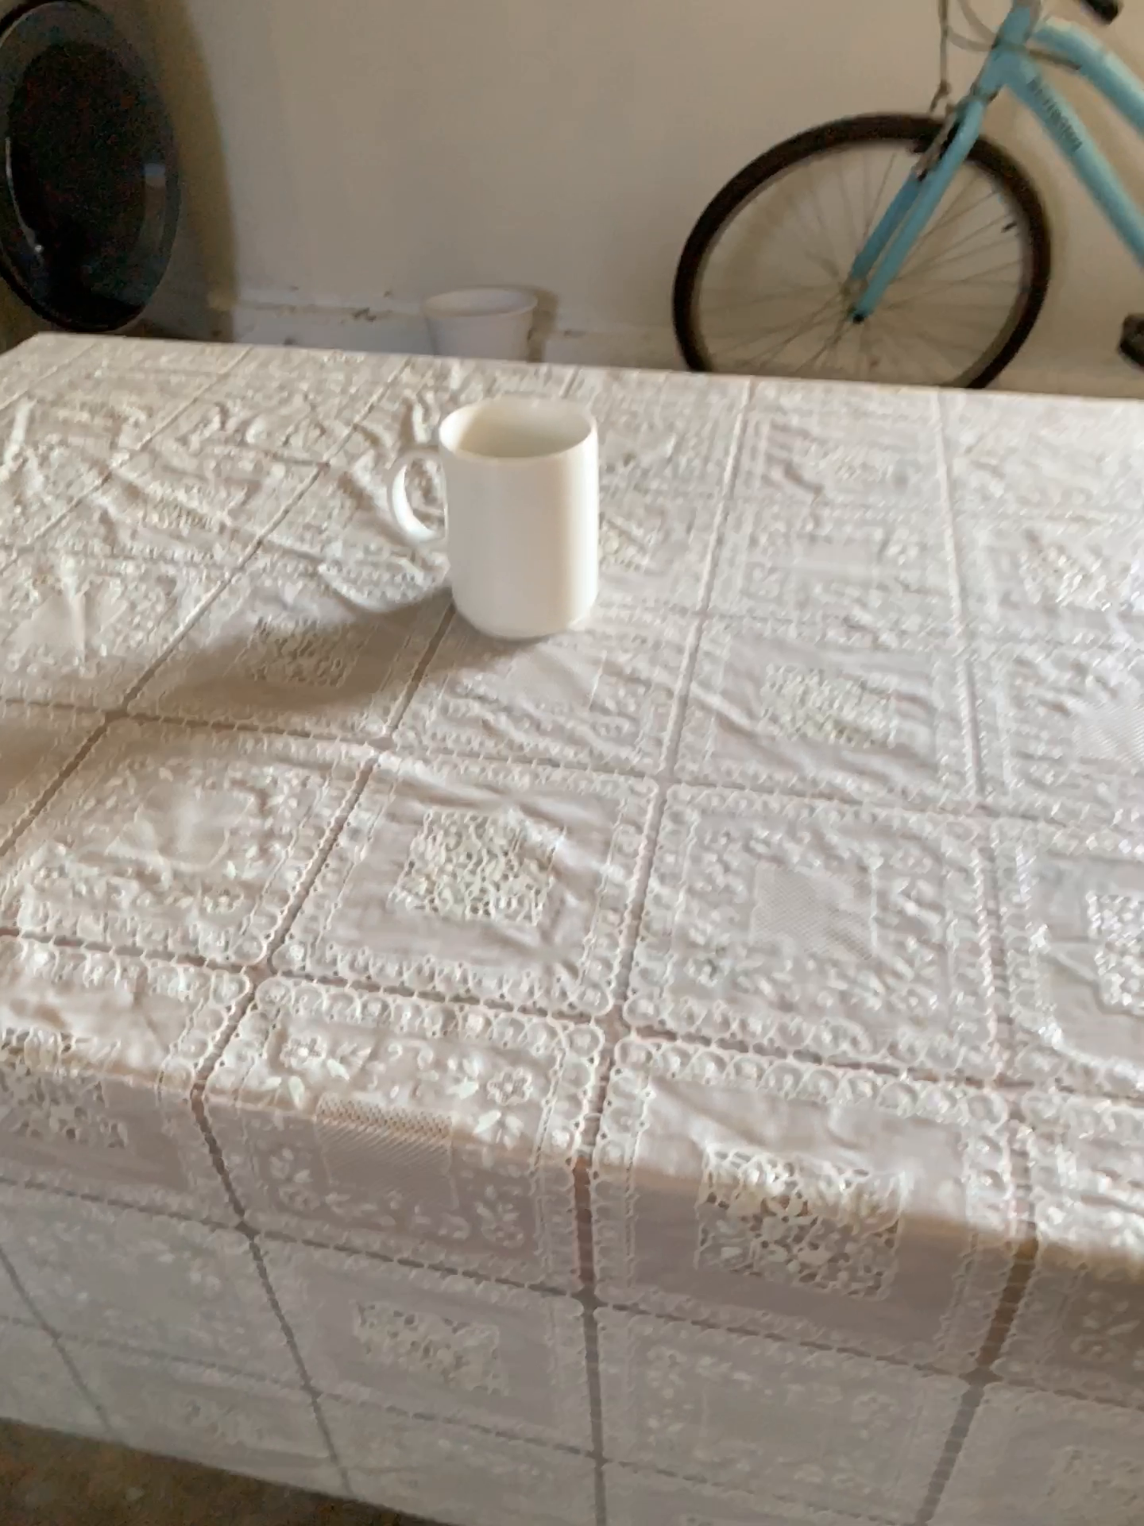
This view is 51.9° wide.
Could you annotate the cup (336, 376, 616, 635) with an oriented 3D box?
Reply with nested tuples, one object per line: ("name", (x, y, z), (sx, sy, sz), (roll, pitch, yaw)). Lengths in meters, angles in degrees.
("cup", (-0.049, -0.145, 0.652), (0.120, 0.089, 0.090), (17, 44, 21))
